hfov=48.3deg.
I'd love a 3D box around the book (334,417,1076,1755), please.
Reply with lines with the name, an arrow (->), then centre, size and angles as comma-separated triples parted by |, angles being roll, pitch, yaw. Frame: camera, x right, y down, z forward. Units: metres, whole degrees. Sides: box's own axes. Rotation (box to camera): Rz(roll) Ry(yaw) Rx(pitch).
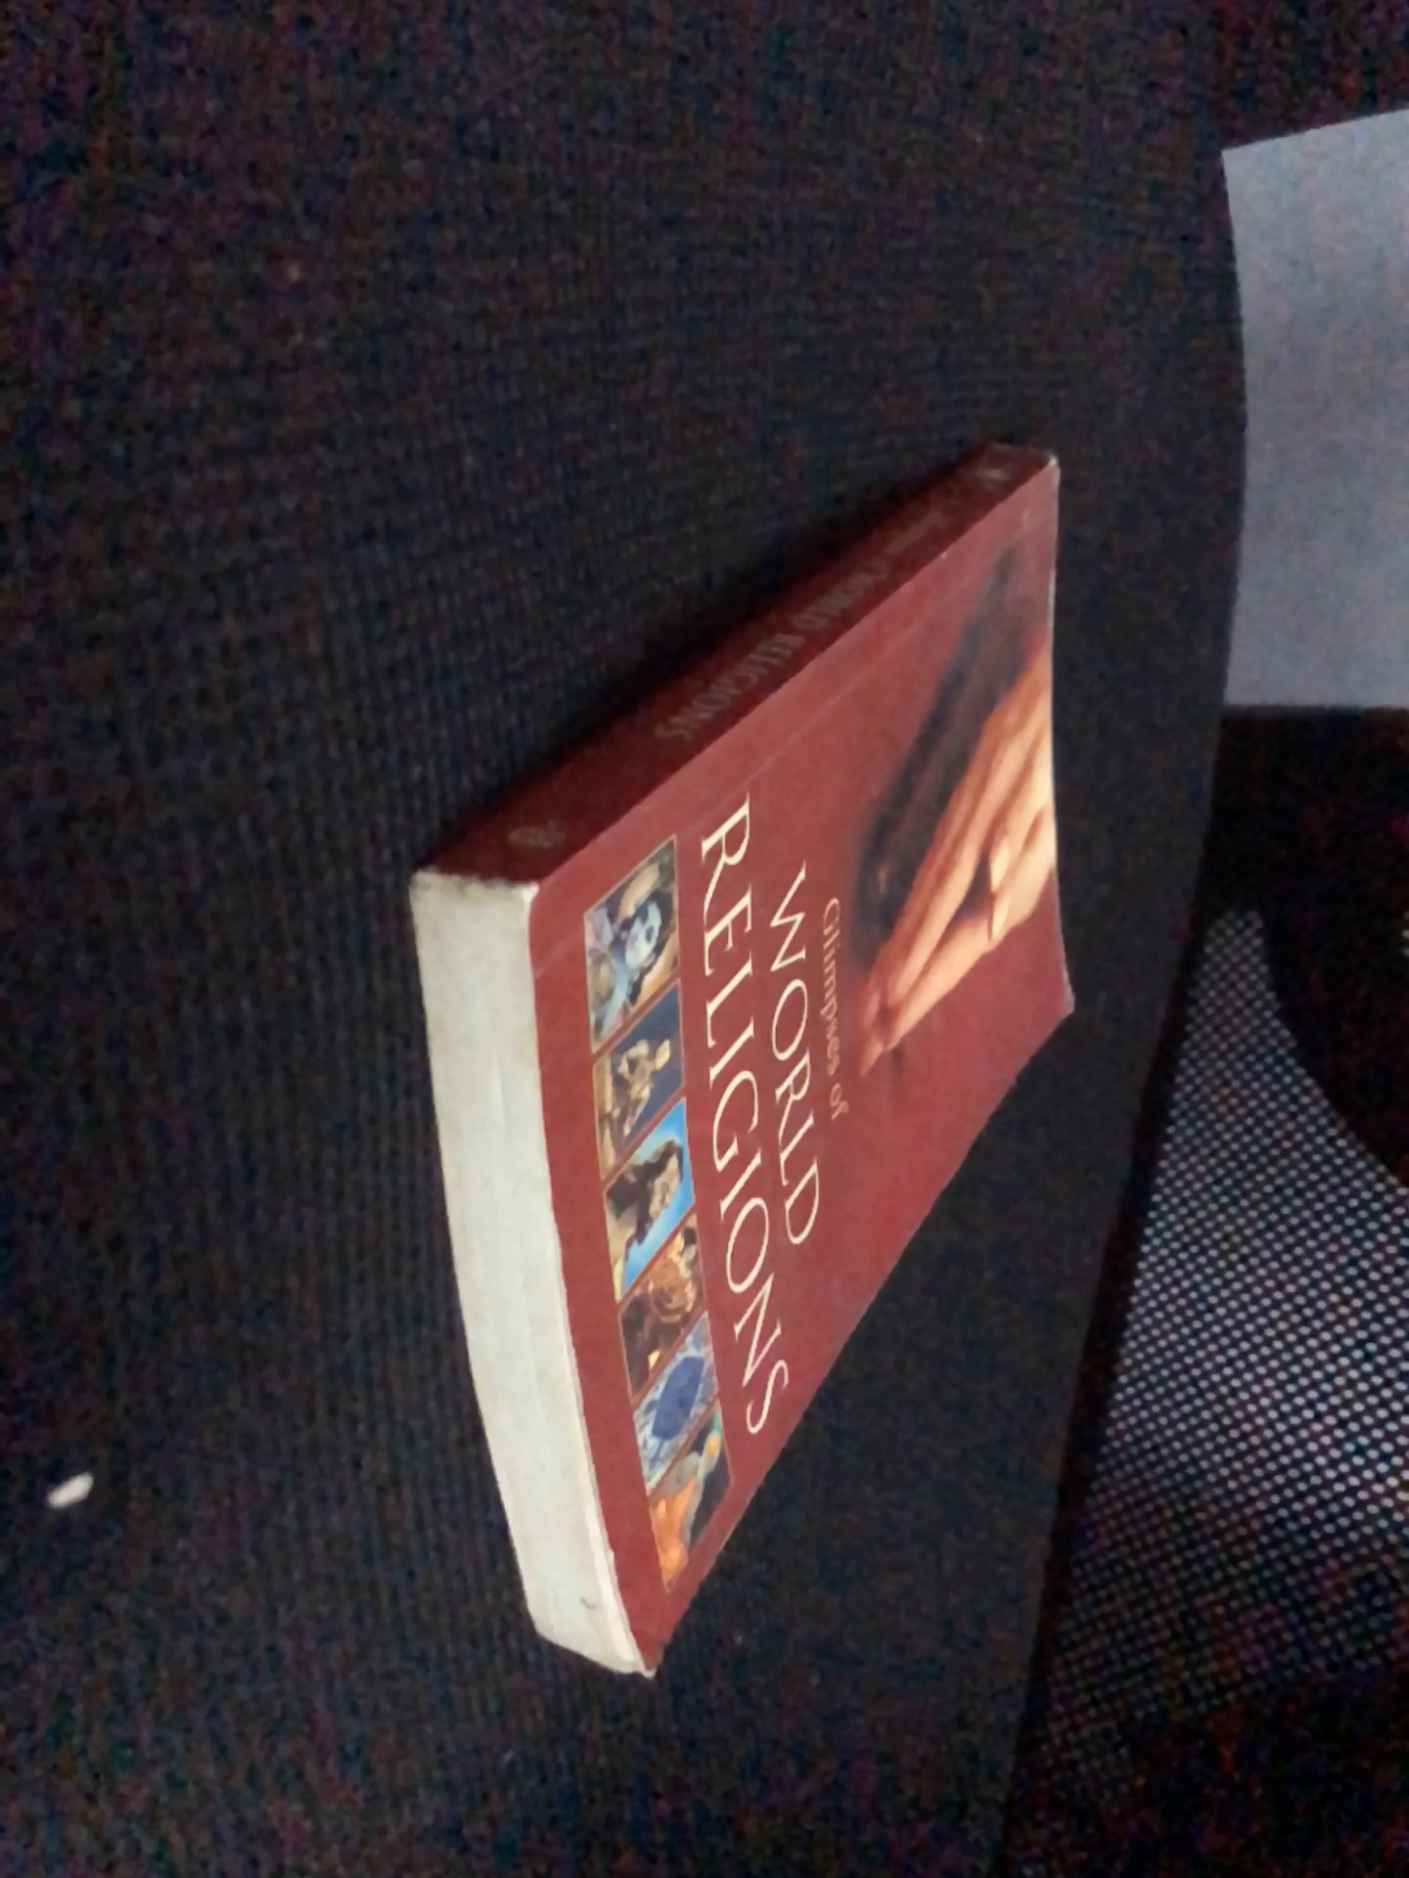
book -> 0.022, 0.006, 0.267 | 0.201, 0.020, 0.140 | -46, 140, -49
